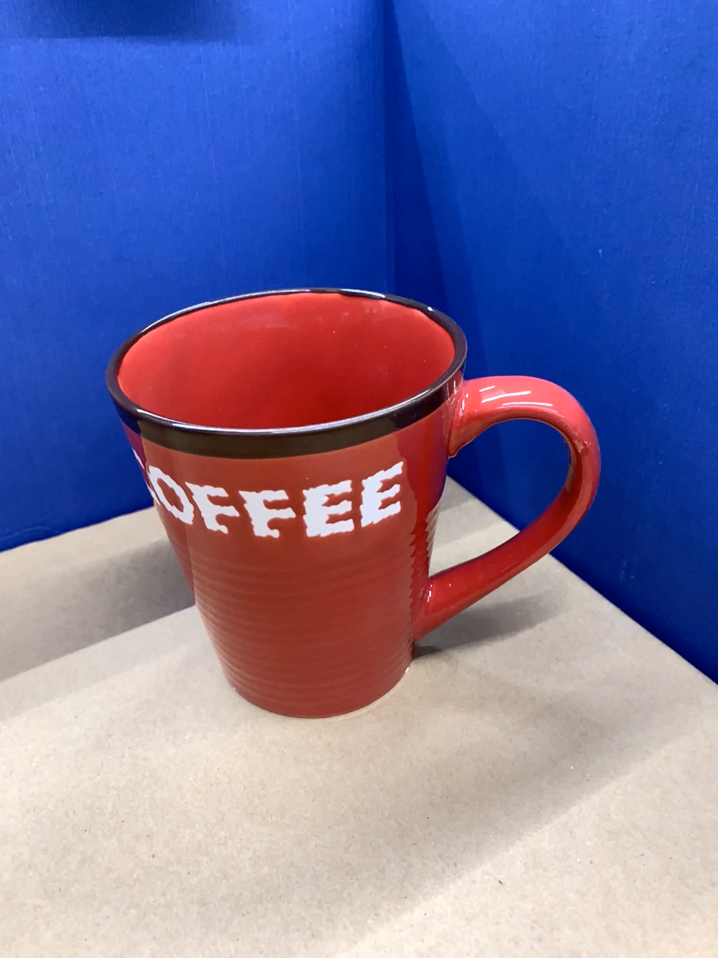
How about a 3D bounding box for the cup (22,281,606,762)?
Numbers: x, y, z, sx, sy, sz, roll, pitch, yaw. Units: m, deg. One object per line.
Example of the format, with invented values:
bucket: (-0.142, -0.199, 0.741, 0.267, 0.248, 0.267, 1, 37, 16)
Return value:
cup: (-0.003, 0.003, 0.221, 0.125, 0.092, 0.101, 4, 30, 10)
